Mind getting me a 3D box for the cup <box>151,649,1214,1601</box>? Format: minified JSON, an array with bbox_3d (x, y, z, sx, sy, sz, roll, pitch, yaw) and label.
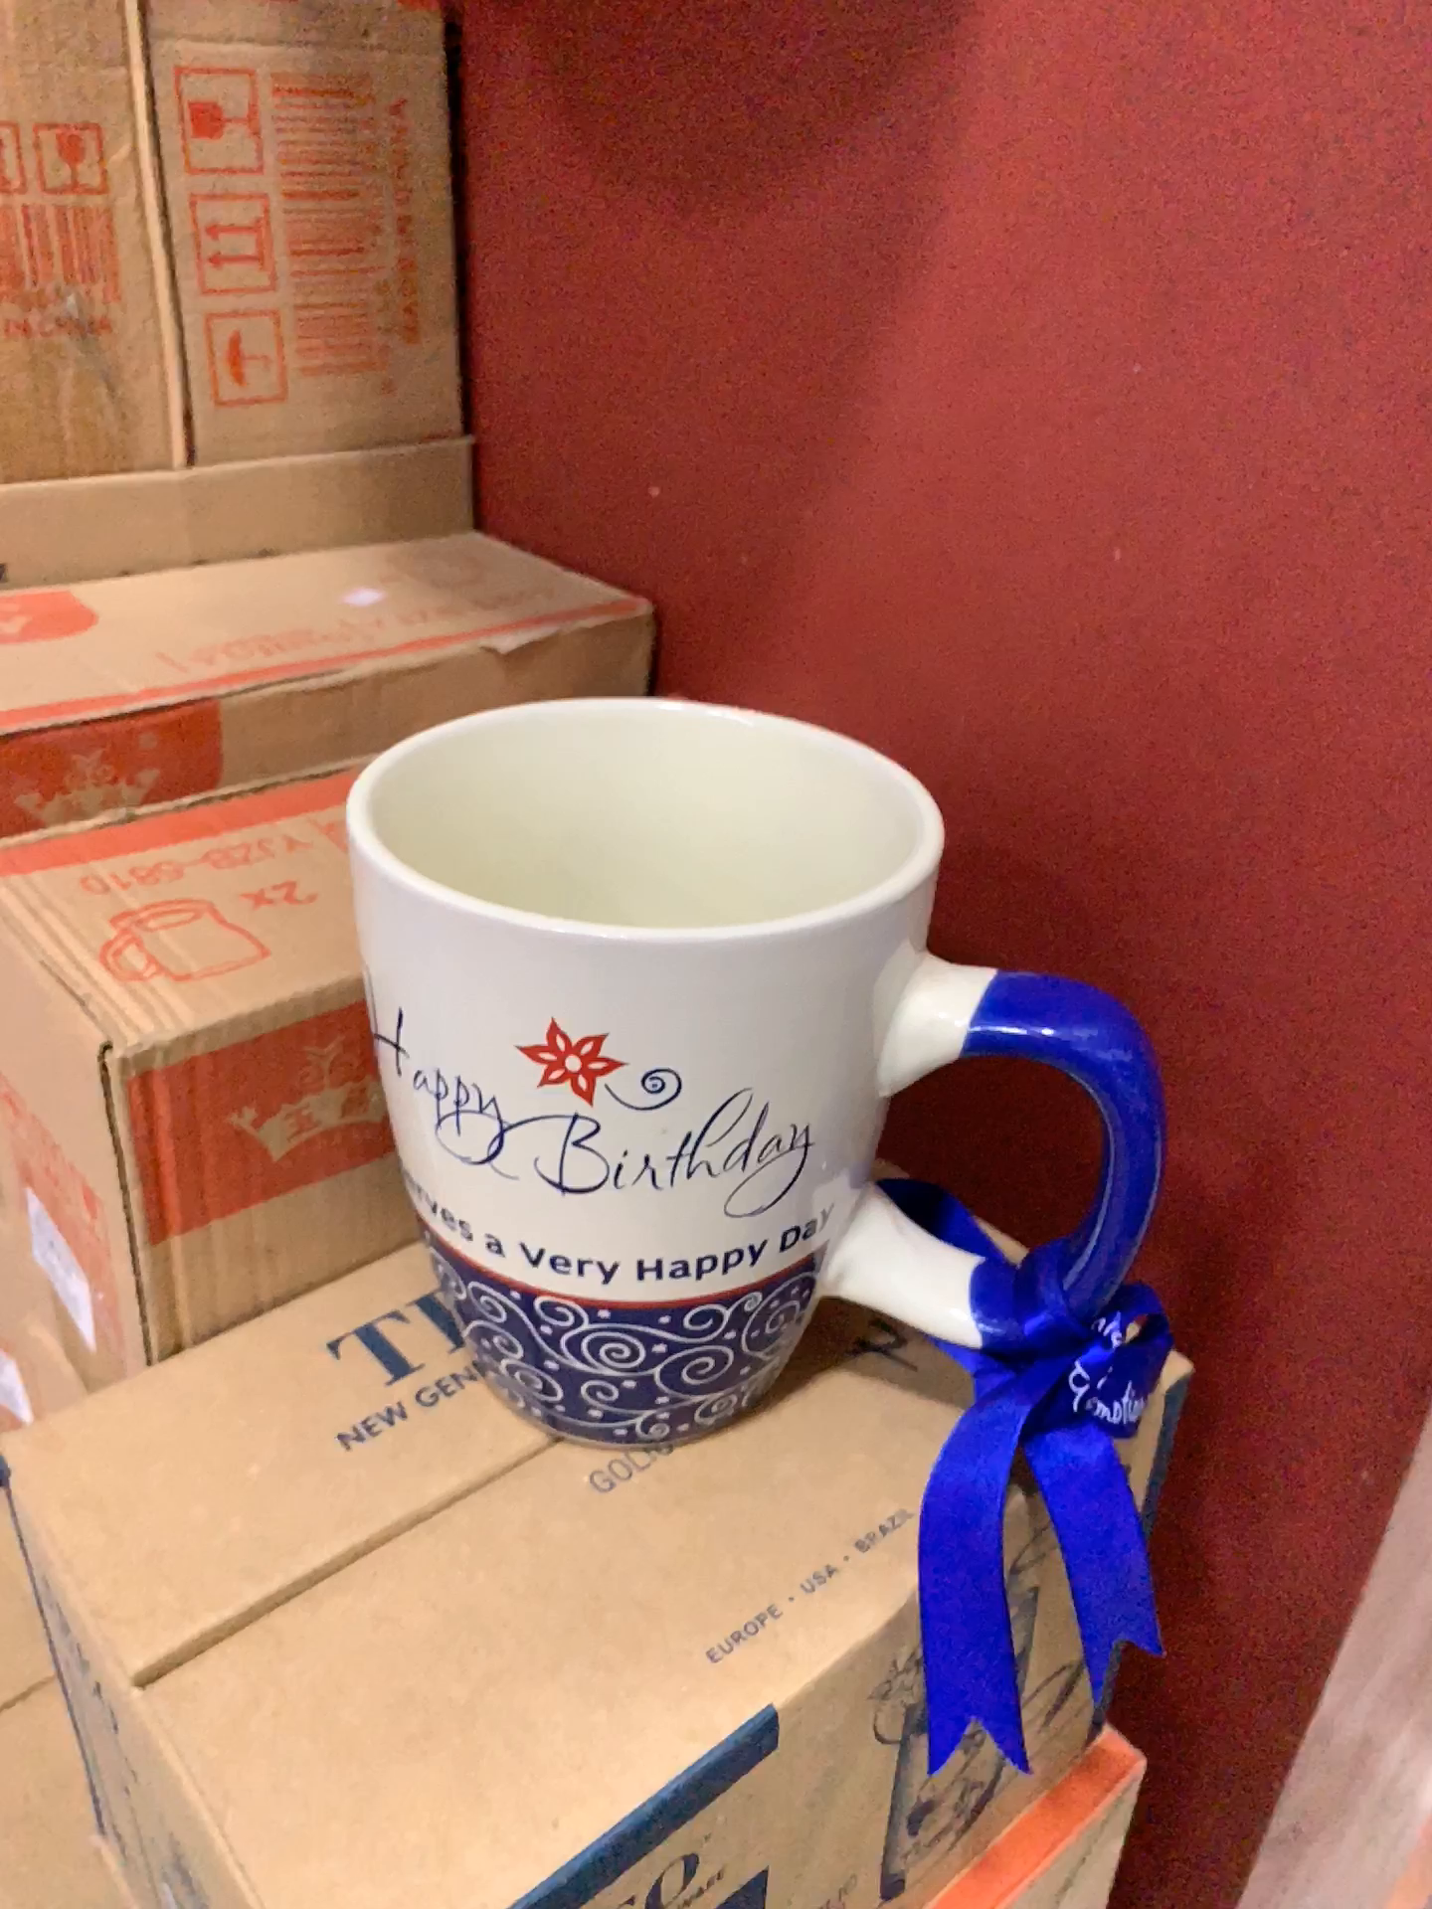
[{"bbox_3d":[0.000,0.016,0.240,0.131,0.086,0.092,13,30,17],"label":"cup"}]
